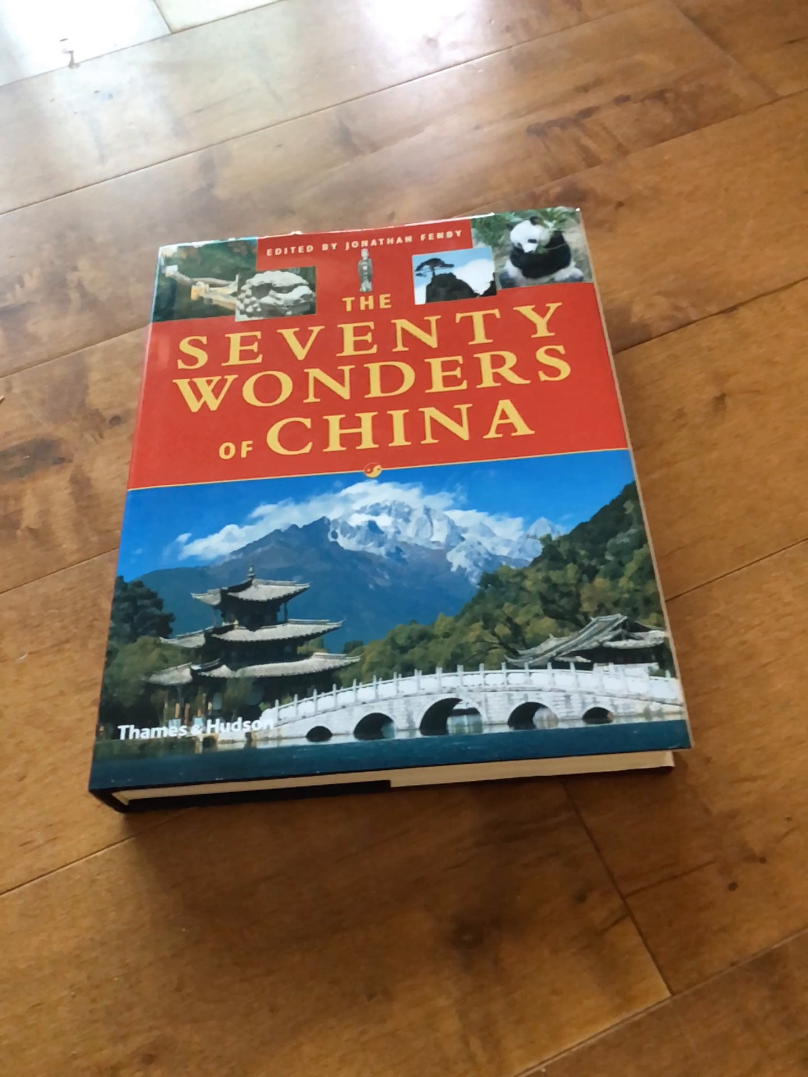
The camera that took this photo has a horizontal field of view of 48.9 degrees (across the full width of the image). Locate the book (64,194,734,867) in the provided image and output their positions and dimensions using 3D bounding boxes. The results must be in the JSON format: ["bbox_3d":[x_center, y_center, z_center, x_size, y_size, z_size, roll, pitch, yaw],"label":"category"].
[{"bbox_3d":[-0.010,-0.022,0.387,0.220,0.050,0.291,-5,59,2],"label":"book"}]
